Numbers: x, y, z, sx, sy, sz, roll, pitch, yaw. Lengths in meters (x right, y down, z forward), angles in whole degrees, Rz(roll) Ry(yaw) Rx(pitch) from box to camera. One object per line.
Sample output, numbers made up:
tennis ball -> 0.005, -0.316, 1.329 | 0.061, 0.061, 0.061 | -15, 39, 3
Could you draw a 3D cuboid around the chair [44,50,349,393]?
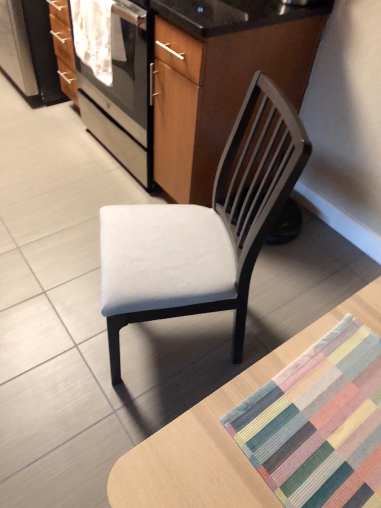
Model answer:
chair -> -0.050, -0.071, 1.303 | 0.590, 0.846, 0.583 | -3, 46, -10
